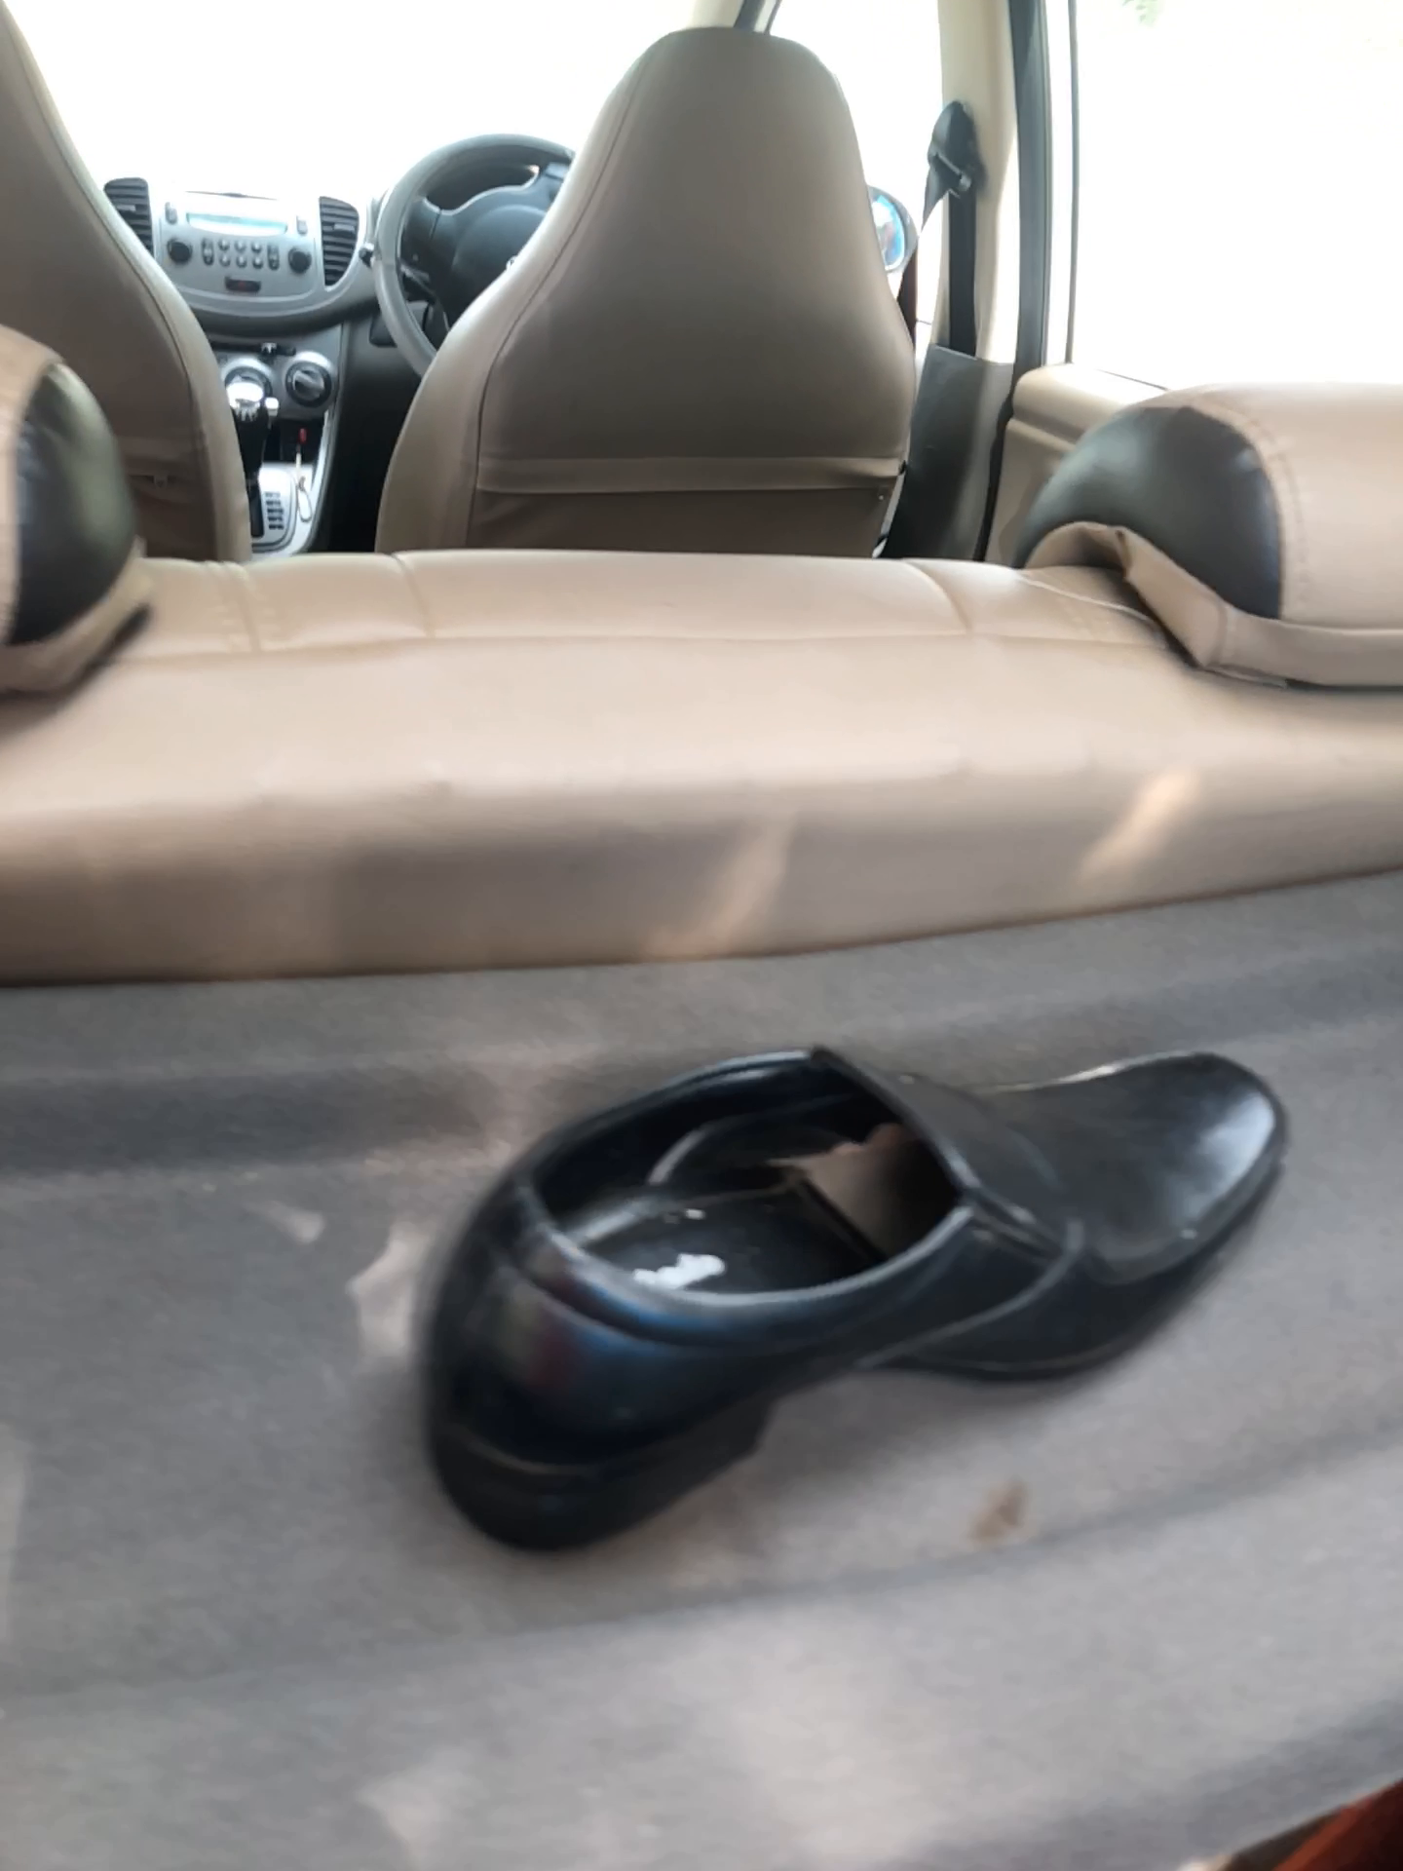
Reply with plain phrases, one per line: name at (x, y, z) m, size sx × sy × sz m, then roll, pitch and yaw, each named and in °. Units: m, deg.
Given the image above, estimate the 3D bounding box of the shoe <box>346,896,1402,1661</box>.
shoe at (0.062, 0.074, 0.433) m, size 0.301 × 0.080 × 0.100 m, roll -13°, pitch 36°, yaw -31°
